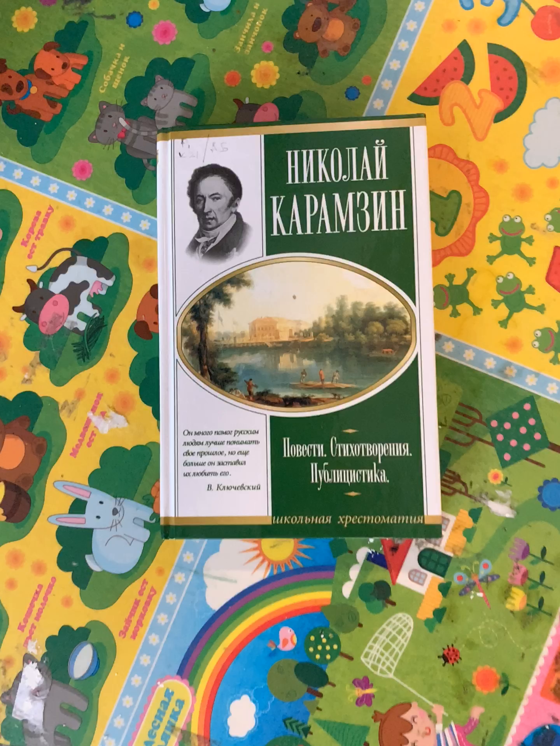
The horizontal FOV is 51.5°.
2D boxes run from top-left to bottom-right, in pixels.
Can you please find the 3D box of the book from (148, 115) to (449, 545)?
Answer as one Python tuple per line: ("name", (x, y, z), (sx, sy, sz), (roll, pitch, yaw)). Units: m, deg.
("book", (0.006, -0.020, 0.279), (0.136, 0.020, 0.197), (-1, 87, 5))
